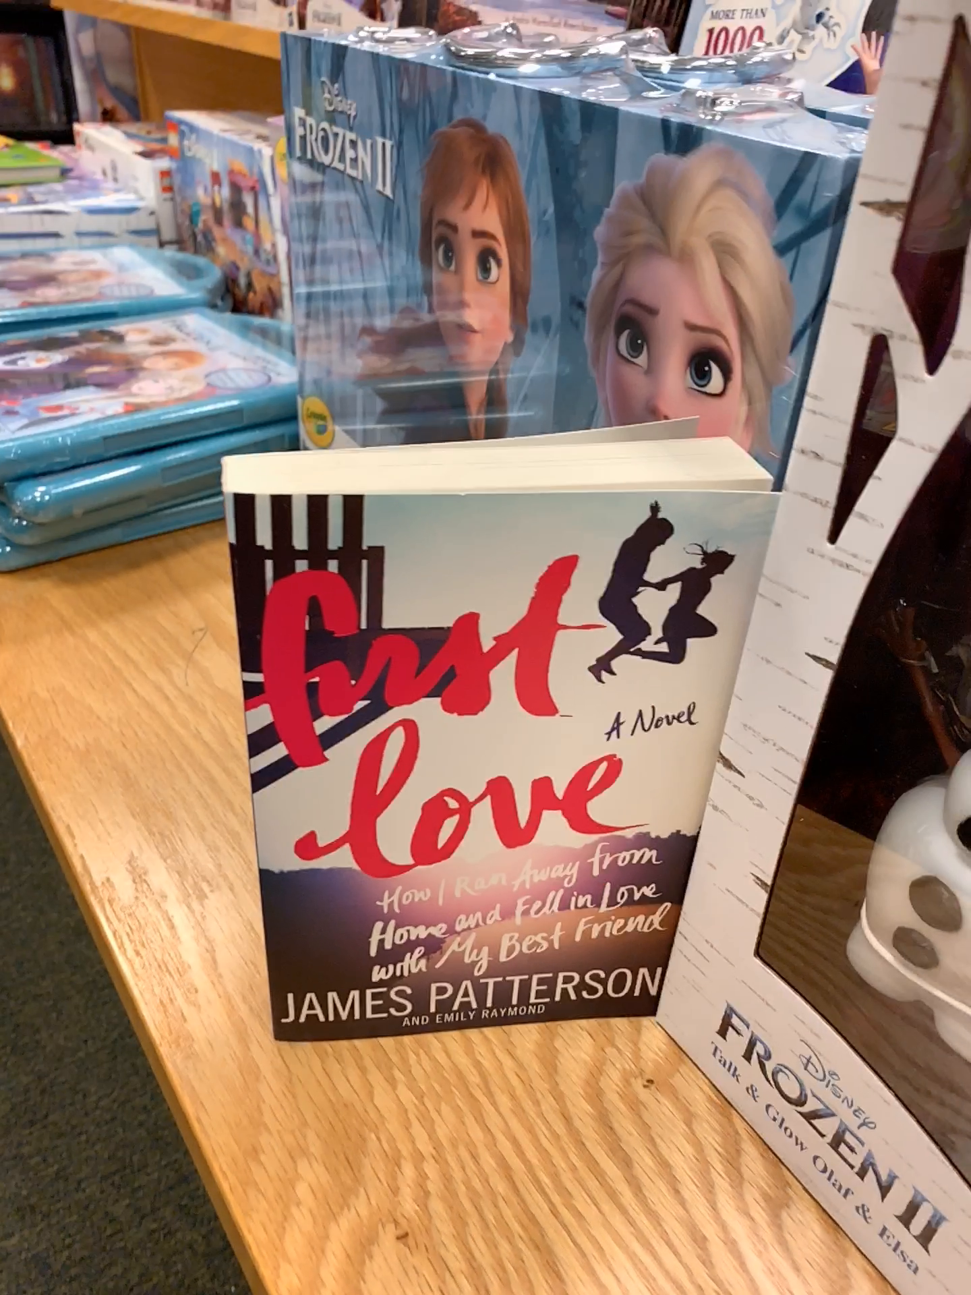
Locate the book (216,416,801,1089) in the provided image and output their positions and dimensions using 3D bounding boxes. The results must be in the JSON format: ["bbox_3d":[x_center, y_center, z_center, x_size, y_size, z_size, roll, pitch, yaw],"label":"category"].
[{"bbox_3d":[-0.002,0.038,0.315,0.142,0.205,0.059,-3,31,-11],"label":"book"}]
